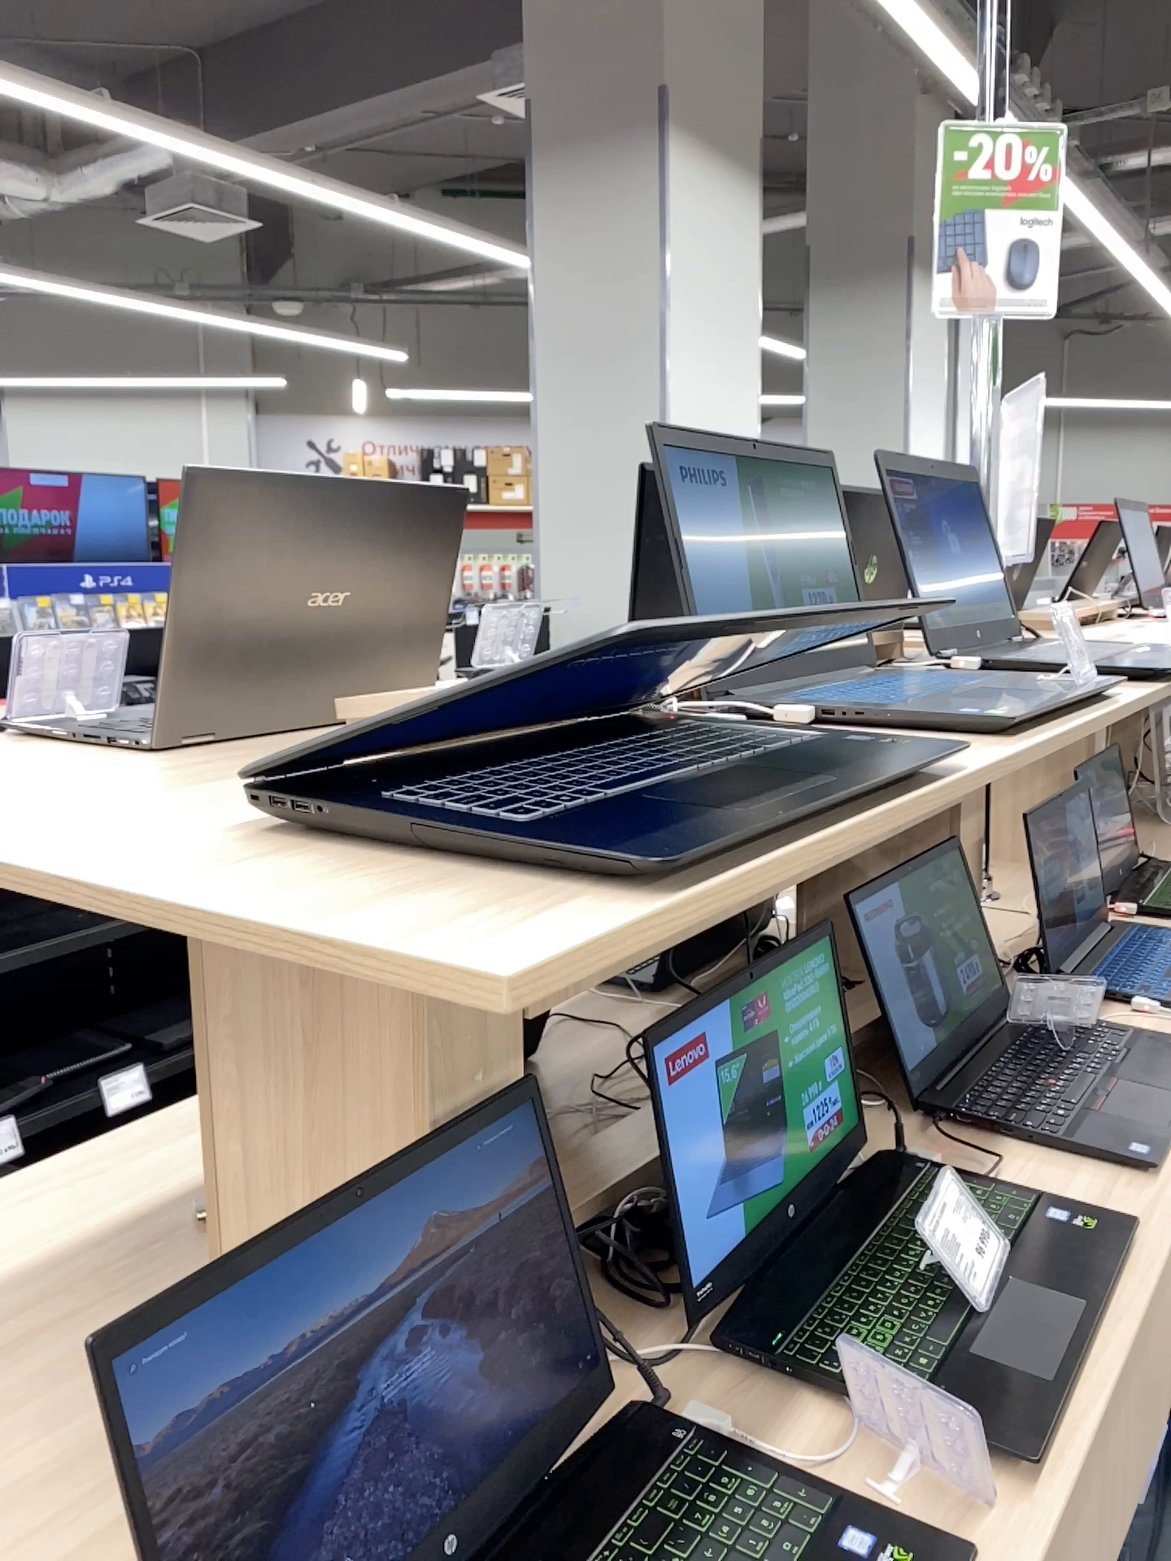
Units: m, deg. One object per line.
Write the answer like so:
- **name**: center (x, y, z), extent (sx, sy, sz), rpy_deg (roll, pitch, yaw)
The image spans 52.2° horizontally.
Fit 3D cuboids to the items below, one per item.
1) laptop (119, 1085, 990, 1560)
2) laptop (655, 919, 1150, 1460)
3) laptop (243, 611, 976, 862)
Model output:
- **laptop**: center (0.006, 0.356, 0.641), extent (0.315, 0.220, 0.344), rpy_deg (5, 9, 32)
- **laptop**: center (0.274, 0.294, 1.001), extent (0.299, 0.226, 0.354), rpy_deg (6, 11, 34)
- **laptop**: center (0.042, -0.052, 0.736), extent (0.271, 0.084, 0.404), rpy_deg (8, 13, 34)
